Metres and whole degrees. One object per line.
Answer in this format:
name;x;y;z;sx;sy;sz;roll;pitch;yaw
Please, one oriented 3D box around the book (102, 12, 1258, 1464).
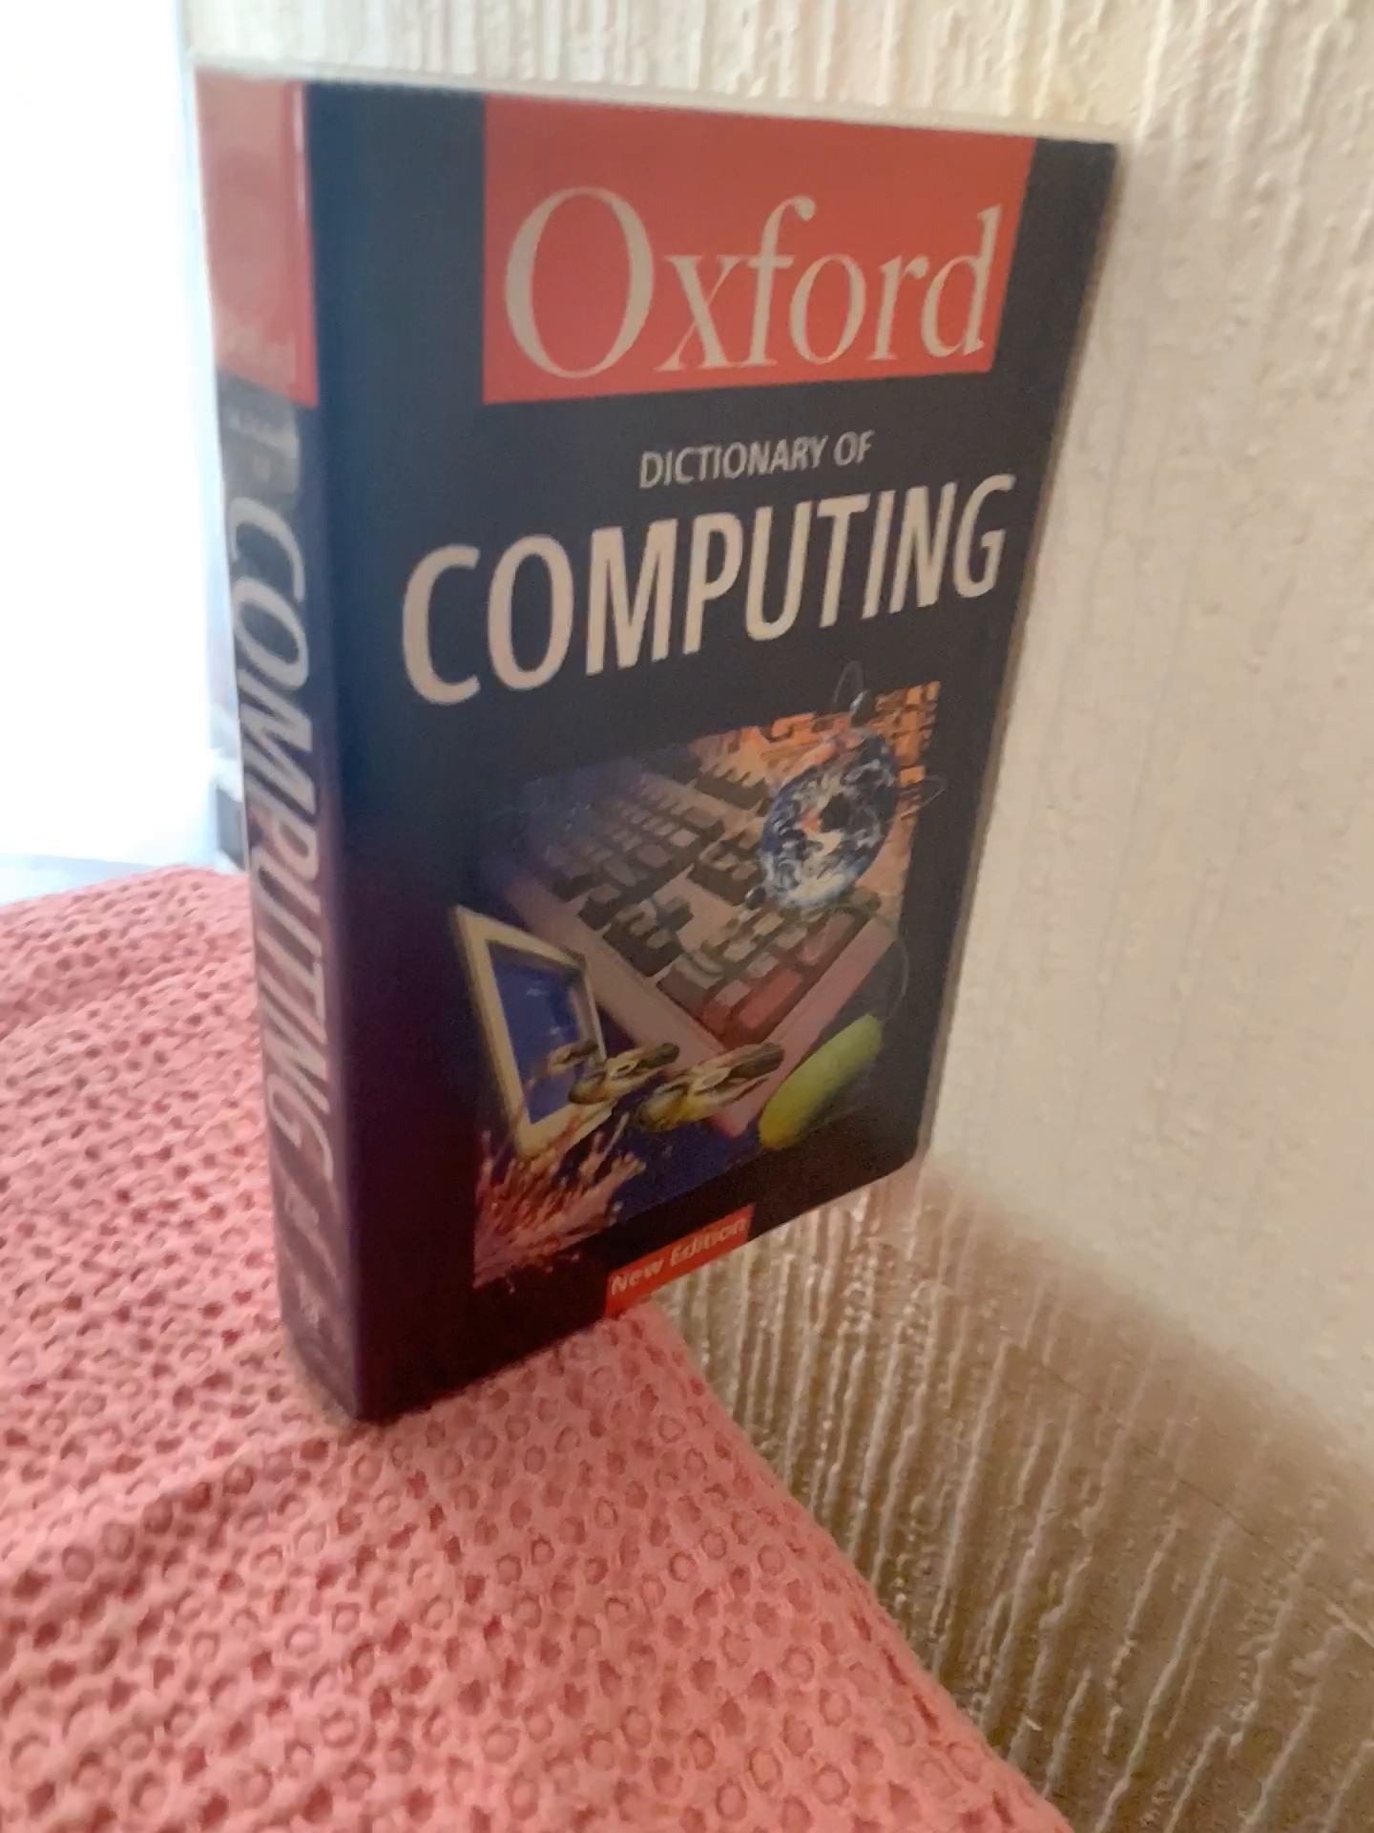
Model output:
book;0.004;-0.026;0.225;0.150;0.188;0.040;-17;36;-32
